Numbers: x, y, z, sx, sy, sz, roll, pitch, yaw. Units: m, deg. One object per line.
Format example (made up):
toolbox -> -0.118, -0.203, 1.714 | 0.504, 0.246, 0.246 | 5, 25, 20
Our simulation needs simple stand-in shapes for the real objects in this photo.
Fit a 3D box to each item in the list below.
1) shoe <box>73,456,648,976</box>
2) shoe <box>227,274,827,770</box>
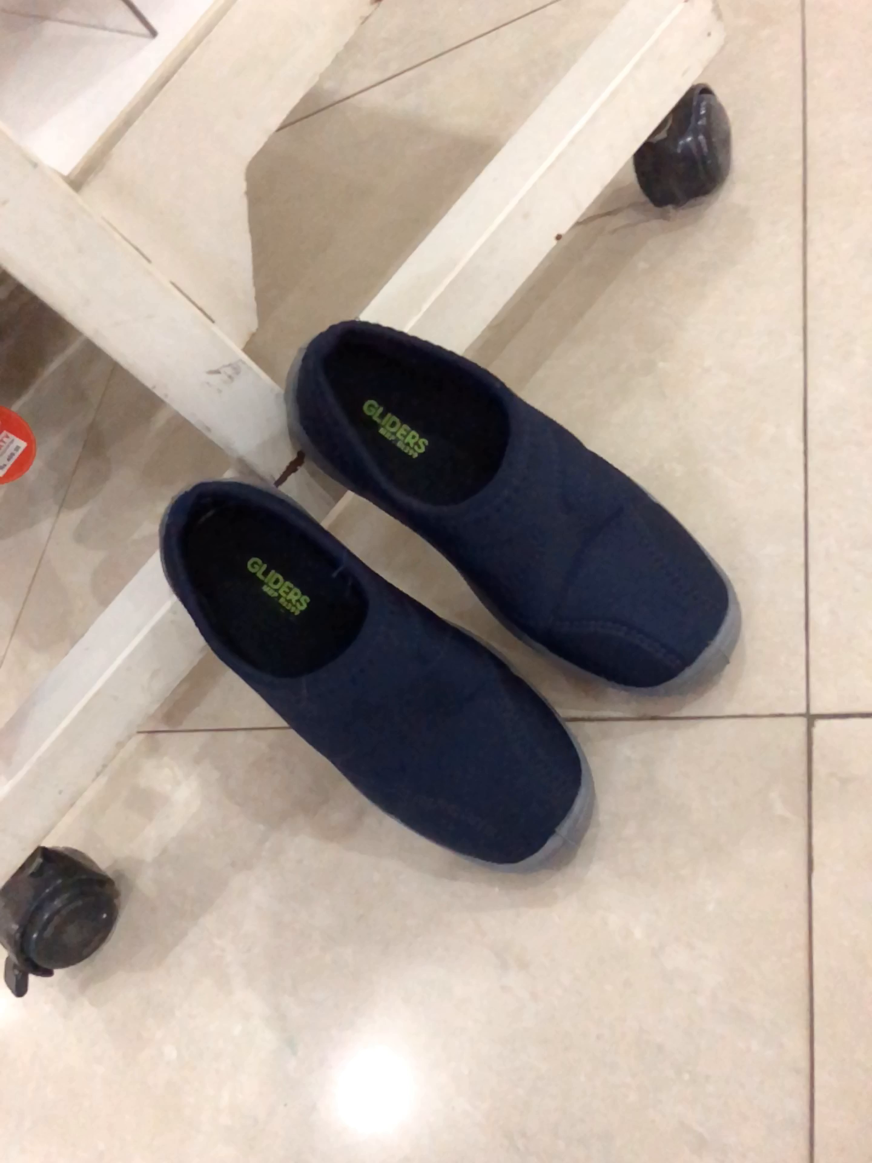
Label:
shoe -> -0.065, 0.115, 0.859 | 0.461, 0.200, 0.160 | 37, 81, 10
shoe -> 0.075, -0.045, 0.915 | 0.490, 0.207, 0.186 | 35, 84, 11
